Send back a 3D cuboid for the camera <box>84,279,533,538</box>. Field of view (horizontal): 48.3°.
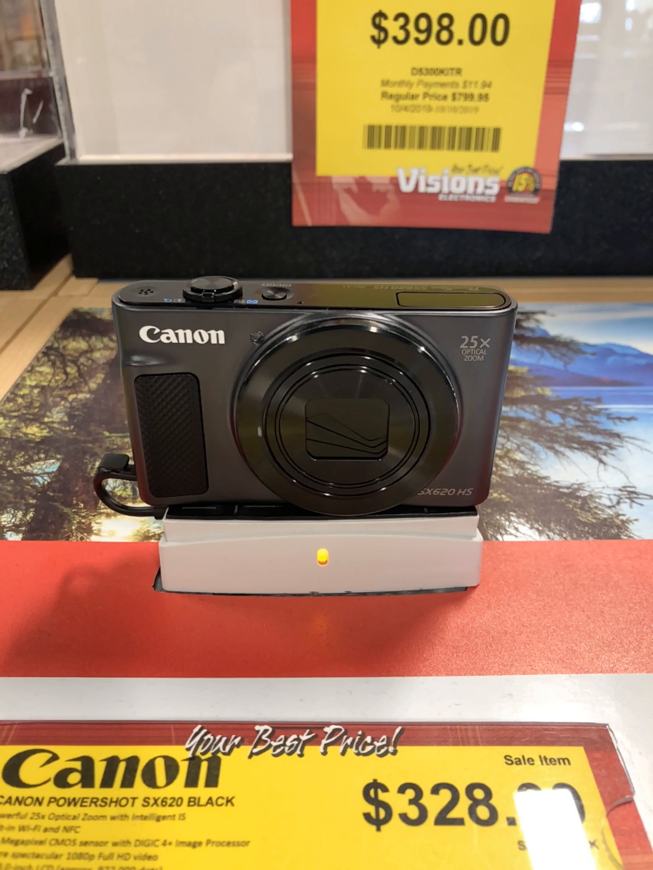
[{"bbox_3d":[-0.004,-0.007,0.190,0.100,0.060,0.030,0,31,2],"label":"camera"}]
